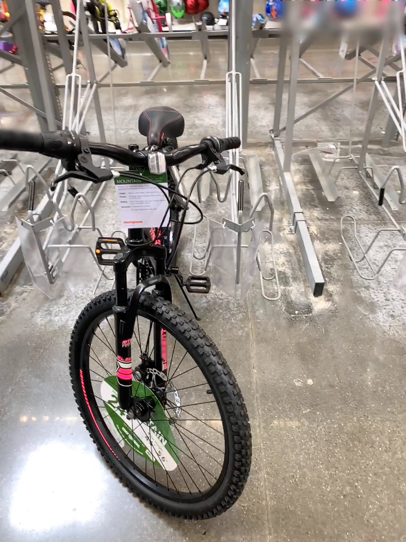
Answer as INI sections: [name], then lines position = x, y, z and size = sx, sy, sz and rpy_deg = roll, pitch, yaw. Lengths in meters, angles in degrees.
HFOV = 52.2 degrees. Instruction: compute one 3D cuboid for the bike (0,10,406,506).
[bike]
position = -0.019, -0.196, 1.319
size = 0.638, 0.963, 1.411
rpy_deg = -7, 37, -6
